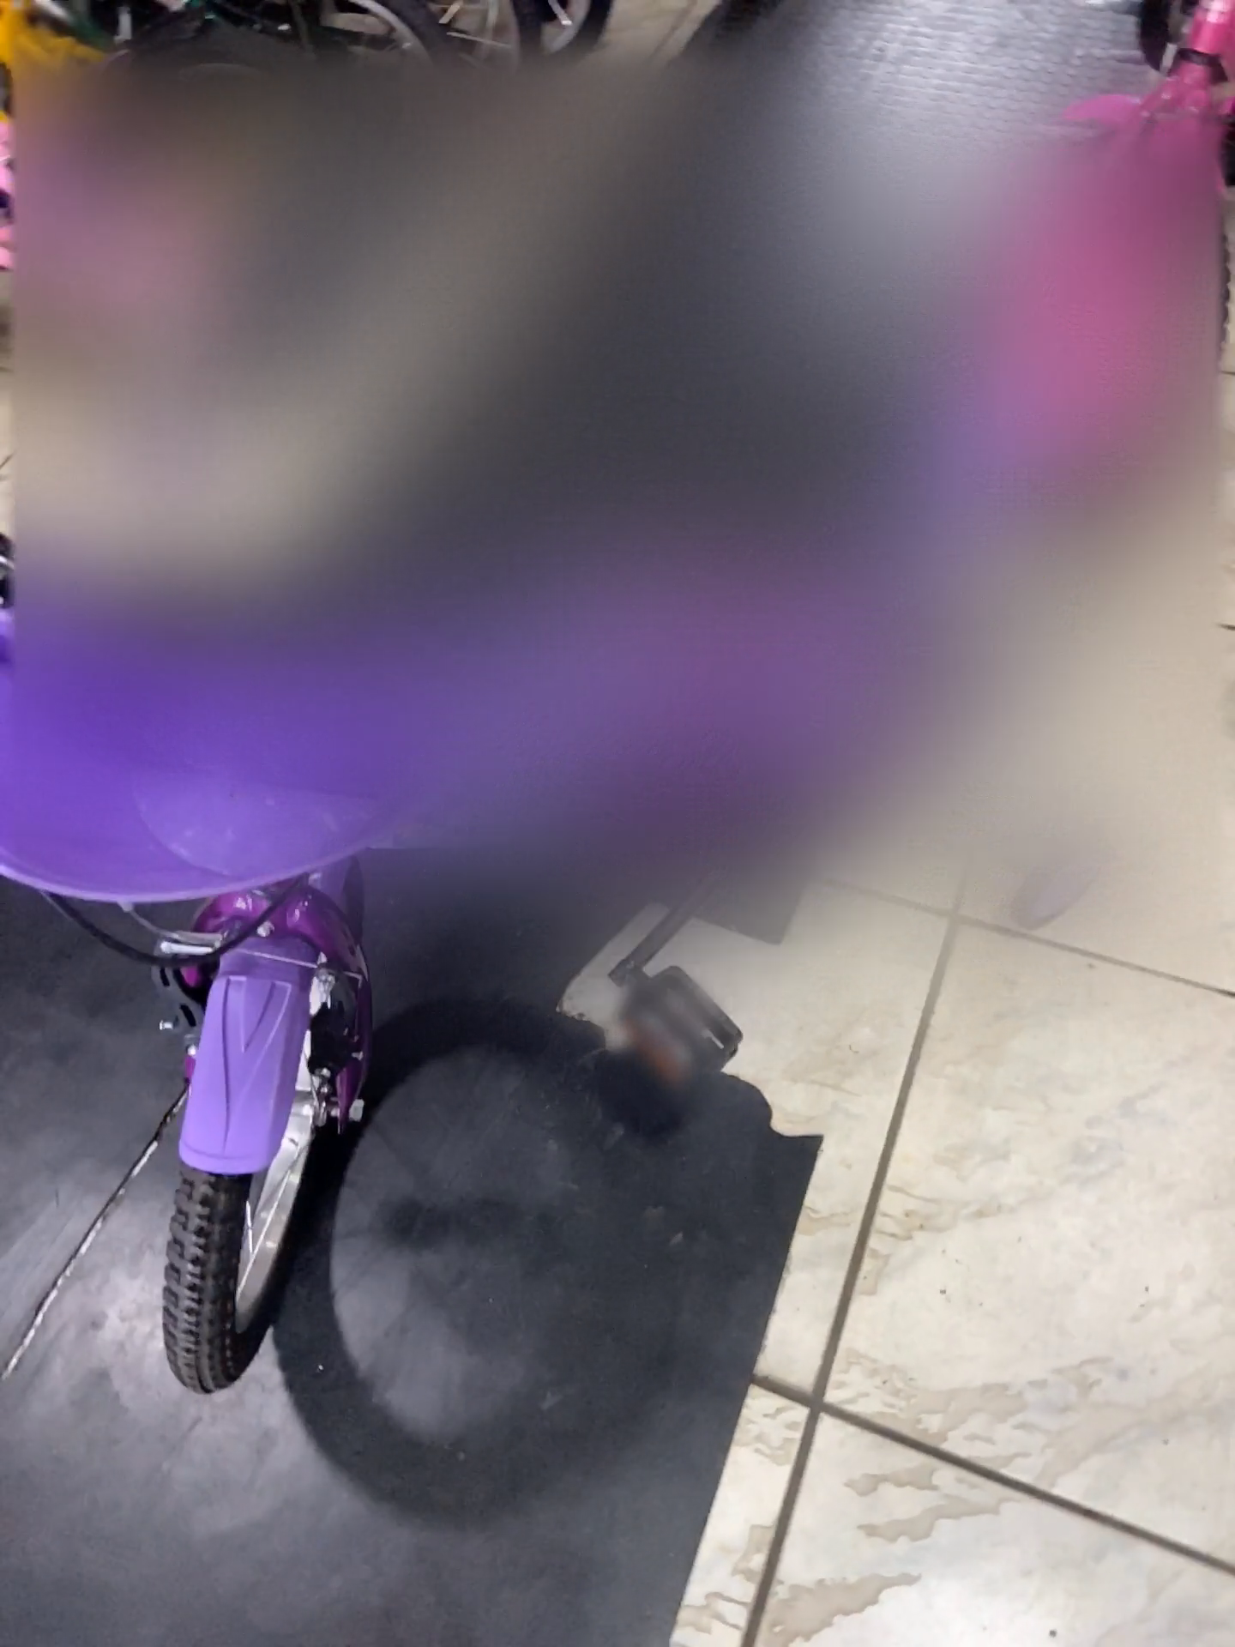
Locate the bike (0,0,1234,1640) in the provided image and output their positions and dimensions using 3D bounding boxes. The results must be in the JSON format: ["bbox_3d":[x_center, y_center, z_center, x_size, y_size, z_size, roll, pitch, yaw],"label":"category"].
[{"bbox_3d":[0.041,-0.075,0.831,0.973,0.743,0.448,-40,60,-22],"label":"bike"}]
